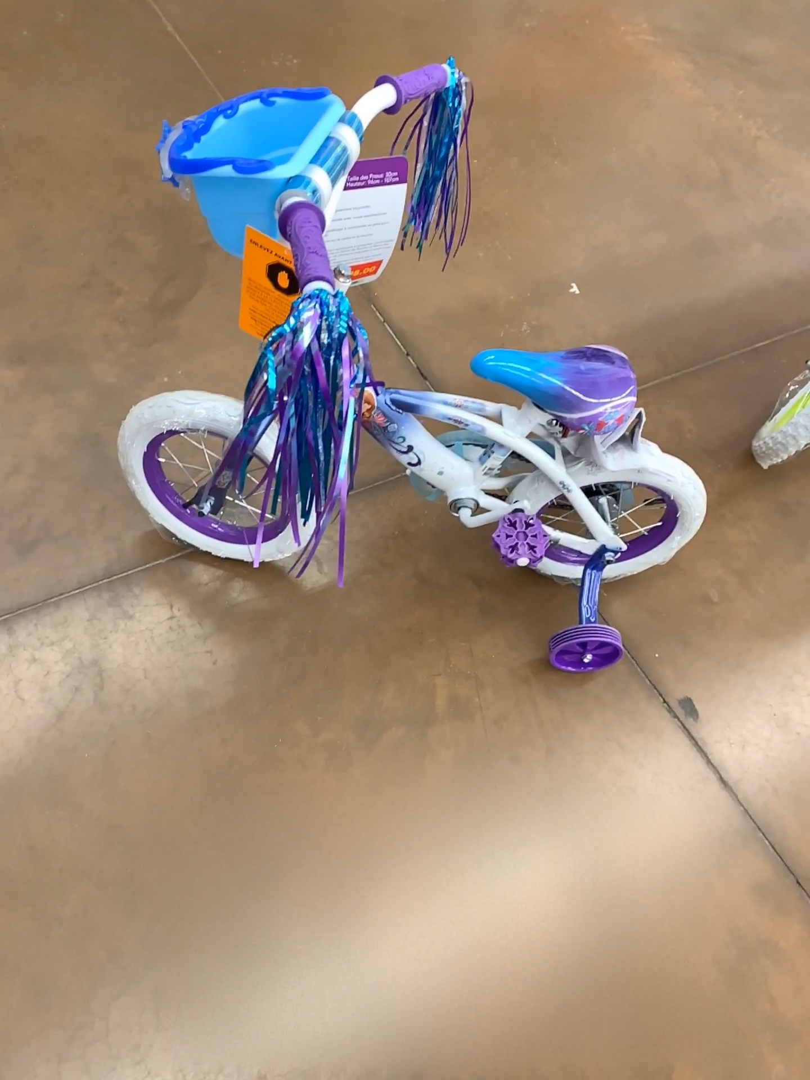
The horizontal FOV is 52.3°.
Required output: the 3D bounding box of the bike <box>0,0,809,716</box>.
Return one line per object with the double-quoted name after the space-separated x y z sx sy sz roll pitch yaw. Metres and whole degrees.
0.072 -0.162 0.952 0.804 0.634 0.441 8 56 -10 "bike"
